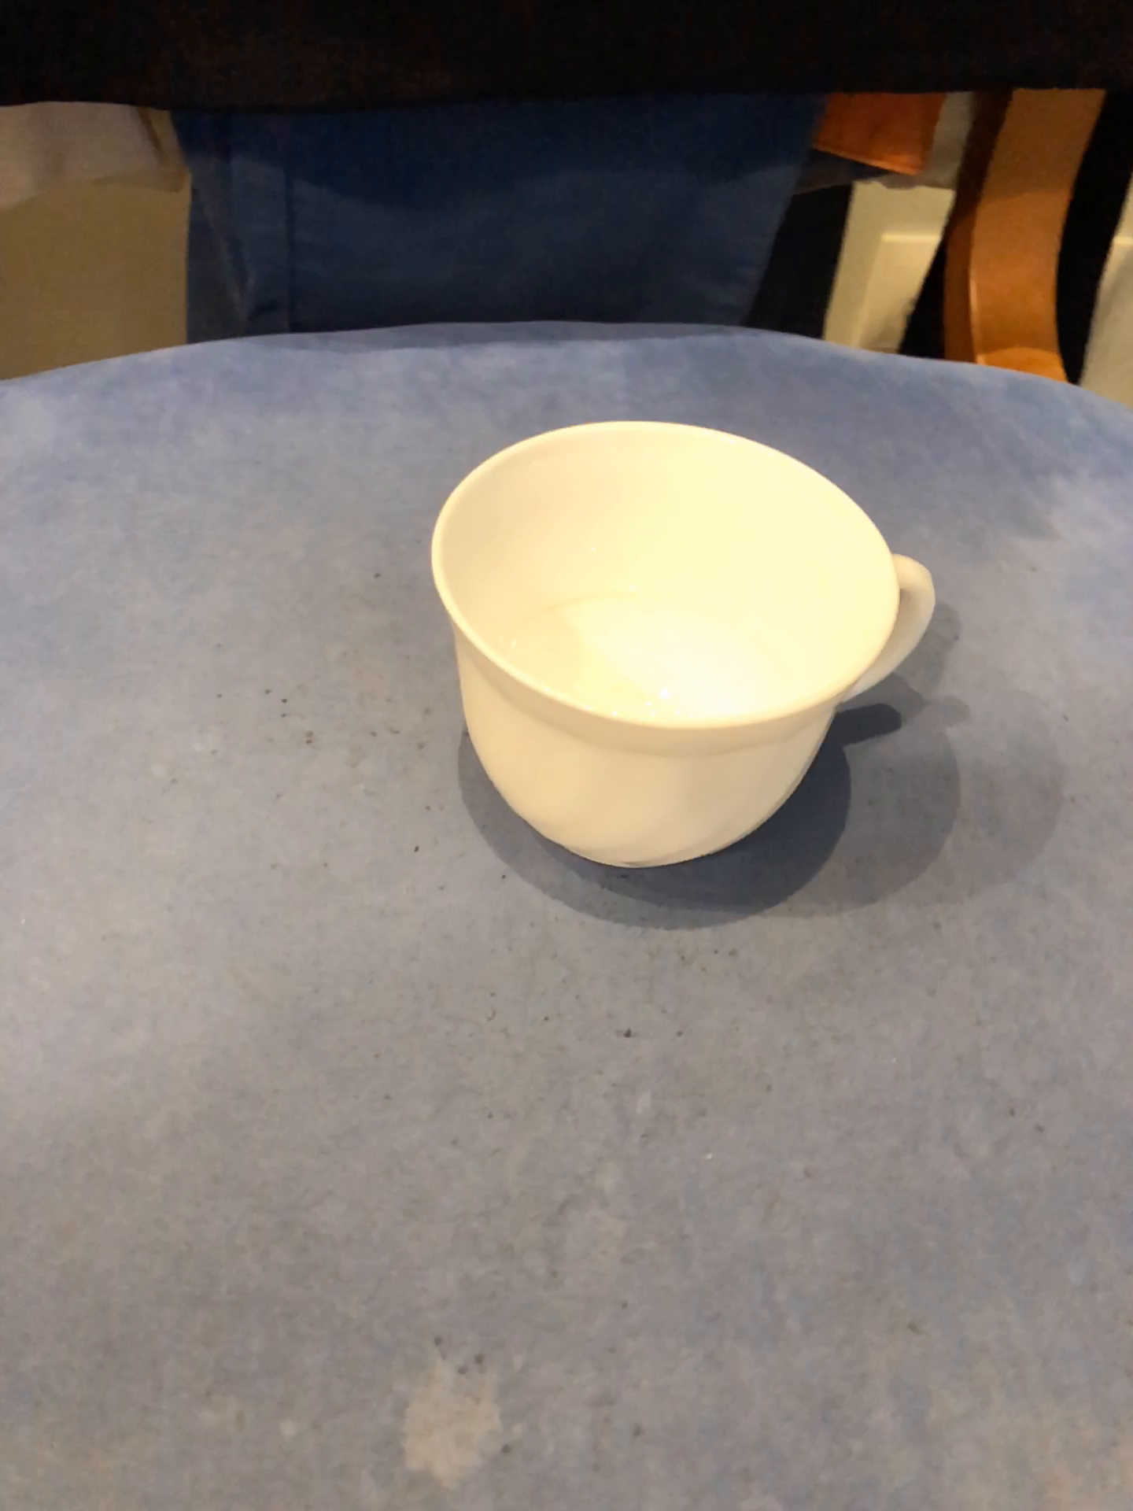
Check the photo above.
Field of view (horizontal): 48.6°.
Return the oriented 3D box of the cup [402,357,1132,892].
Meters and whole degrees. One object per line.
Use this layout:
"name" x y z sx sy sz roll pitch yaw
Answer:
"cup" 0.034 -0.029 0.243 0.120 0.050 0.080 -7 50 -12
